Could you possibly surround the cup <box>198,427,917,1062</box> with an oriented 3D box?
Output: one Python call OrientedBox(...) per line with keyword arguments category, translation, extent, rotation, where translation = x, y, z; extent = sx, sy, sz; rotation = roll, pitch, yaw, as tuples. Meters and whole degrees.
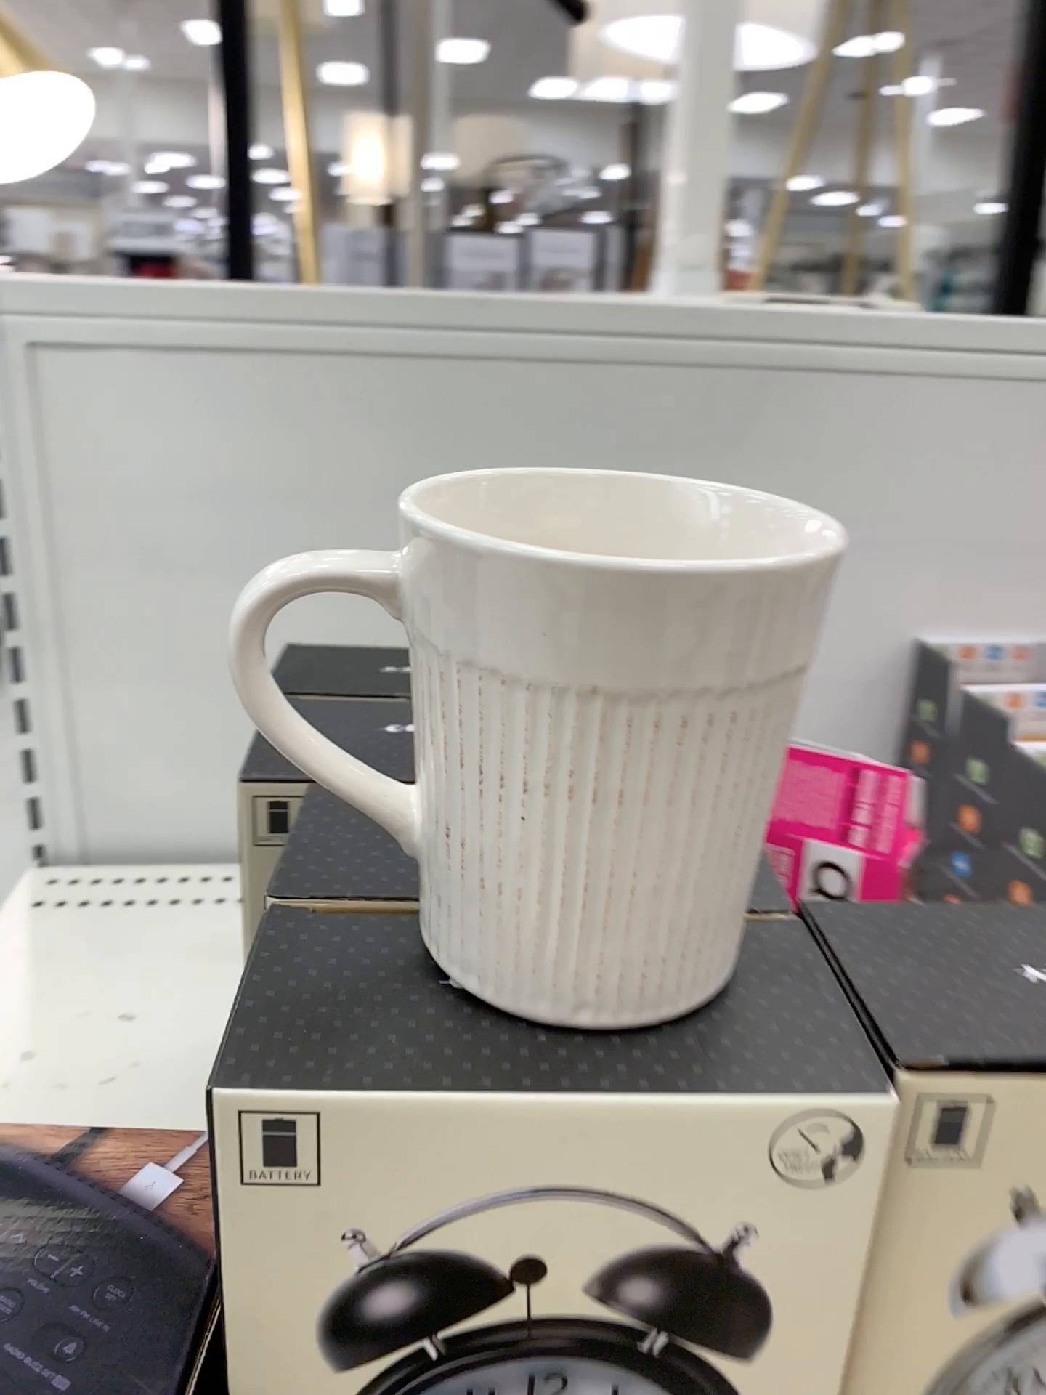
OrientedBox(category="cup", translation=(0.001, 0.005, 0.232), extent=(0.117, 0.099, 0.084), rotation=(5, 22, -2))
